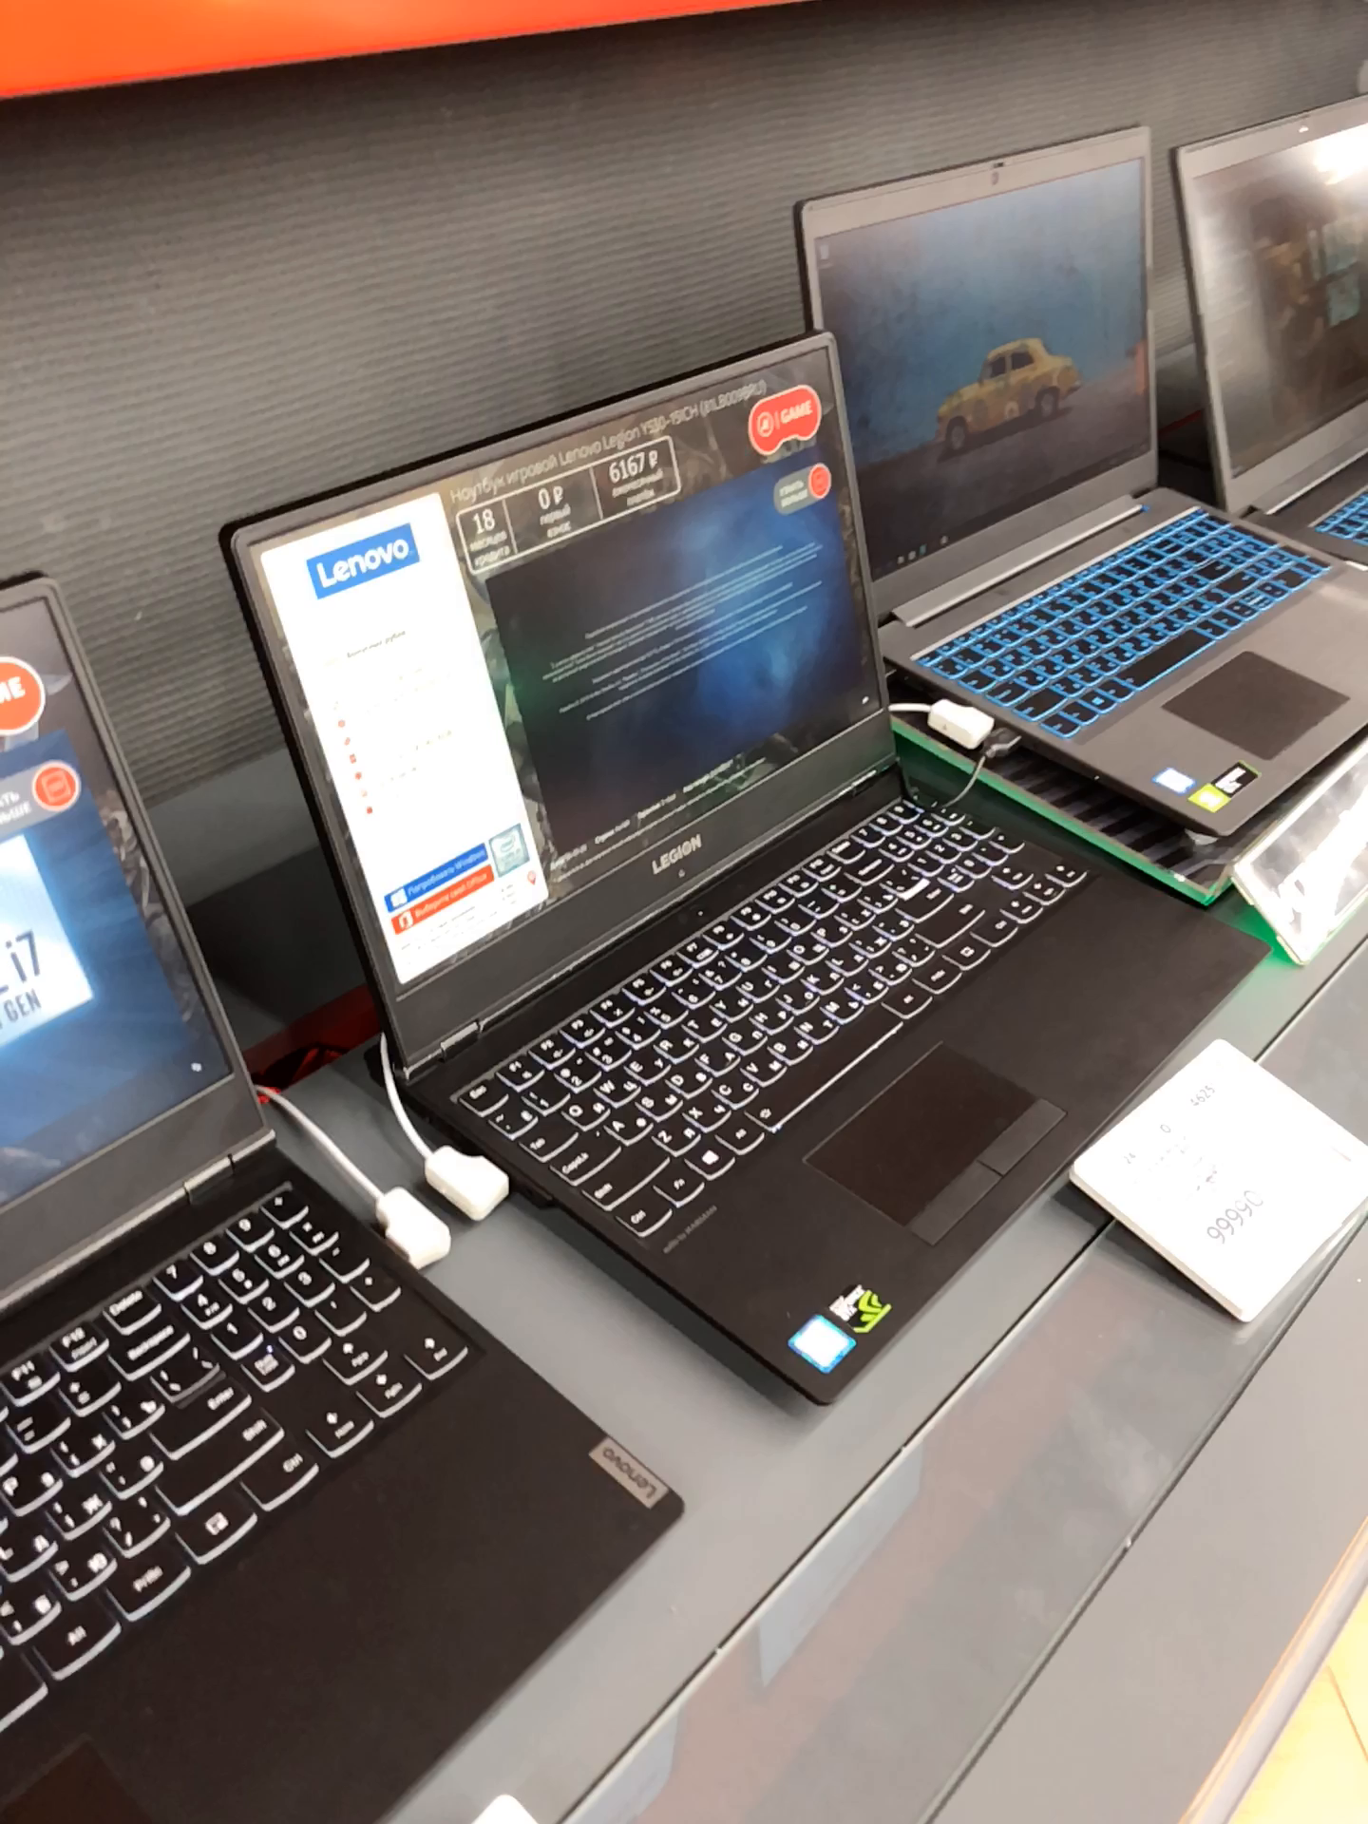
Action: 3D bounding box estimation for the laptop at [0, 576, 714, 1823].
[{"bbox_3d":[-0.230,0.114,0.395,0.315,0.223,0.354,28,44,31],"label":"laptop"}]

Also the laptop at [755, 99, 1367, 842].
[{"bbox_3d":[0.284,-0.290,0.884,0.335,0.225,0.355,34,48,31],"label":"laptop"}]

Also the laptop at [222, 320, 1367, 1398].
[{"bbox_3d":[0.058,-0.065,0.642,0.301,0.225,0.353,30,46,32],"label":"laptop"}]
